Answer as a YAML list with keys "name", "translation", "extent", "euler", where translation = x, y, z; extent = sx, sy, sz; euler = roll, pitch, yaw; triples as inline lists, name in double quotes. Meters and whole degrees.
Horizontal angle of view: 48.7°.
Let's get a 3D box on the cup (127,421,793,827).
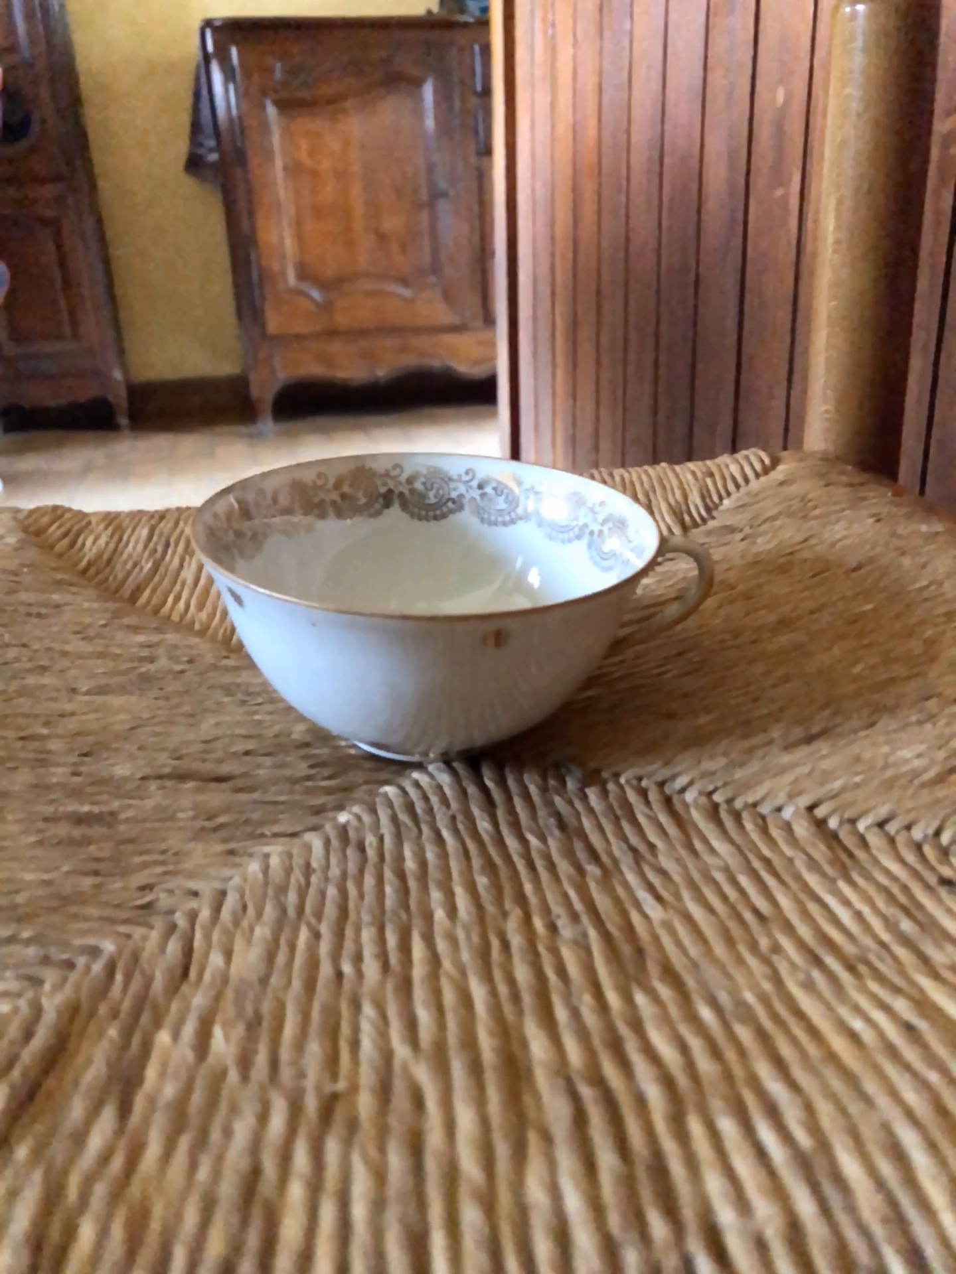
- name: "cup"
  translation: [-0.008, -0.013, 0.264]
  extent: [0.130, 0.050, 0.110]
  euler: [-6, 24, -8]
